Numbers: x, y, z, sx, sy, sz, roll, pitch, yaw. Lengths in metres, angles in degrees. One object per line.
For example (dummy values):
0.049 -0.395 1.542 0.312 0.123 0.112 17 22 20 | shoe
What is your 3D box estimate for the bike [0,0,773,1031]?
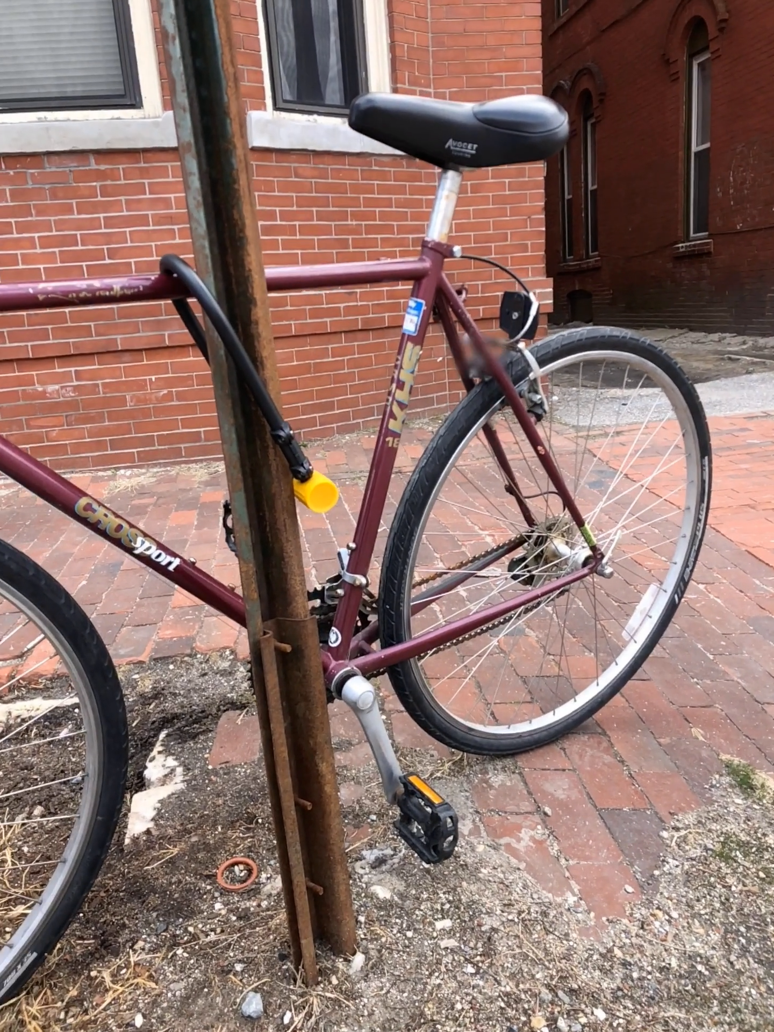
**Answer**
-0.101 0.026 0.937 1.730 1.014 0.668 -14 16 -34 | bike
